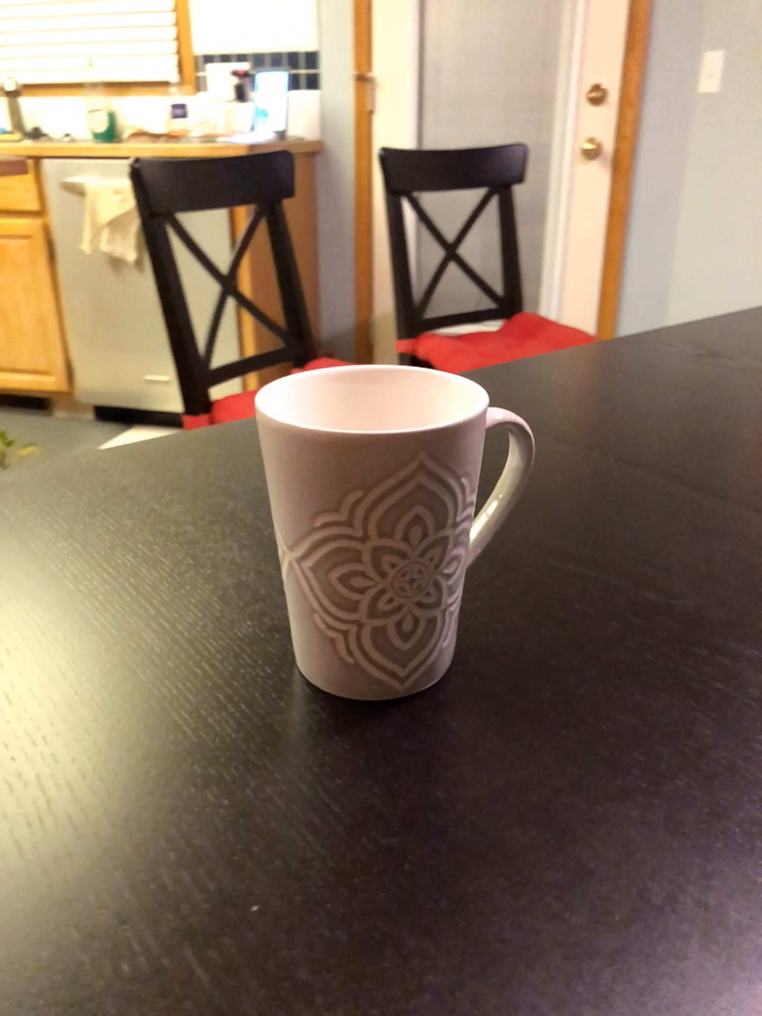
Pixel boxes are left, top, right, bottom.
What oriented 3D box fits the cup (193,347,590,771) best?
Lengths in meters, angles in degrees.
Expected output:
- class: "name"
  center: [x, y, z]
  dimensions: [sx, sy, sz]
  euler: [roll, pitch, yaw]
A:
- class: "cup"
  center: [0.004, 0.011, 0.378]
  dimensions: [0.130, 0.129, 0.100]
  euler: [-16, 28, -33]
